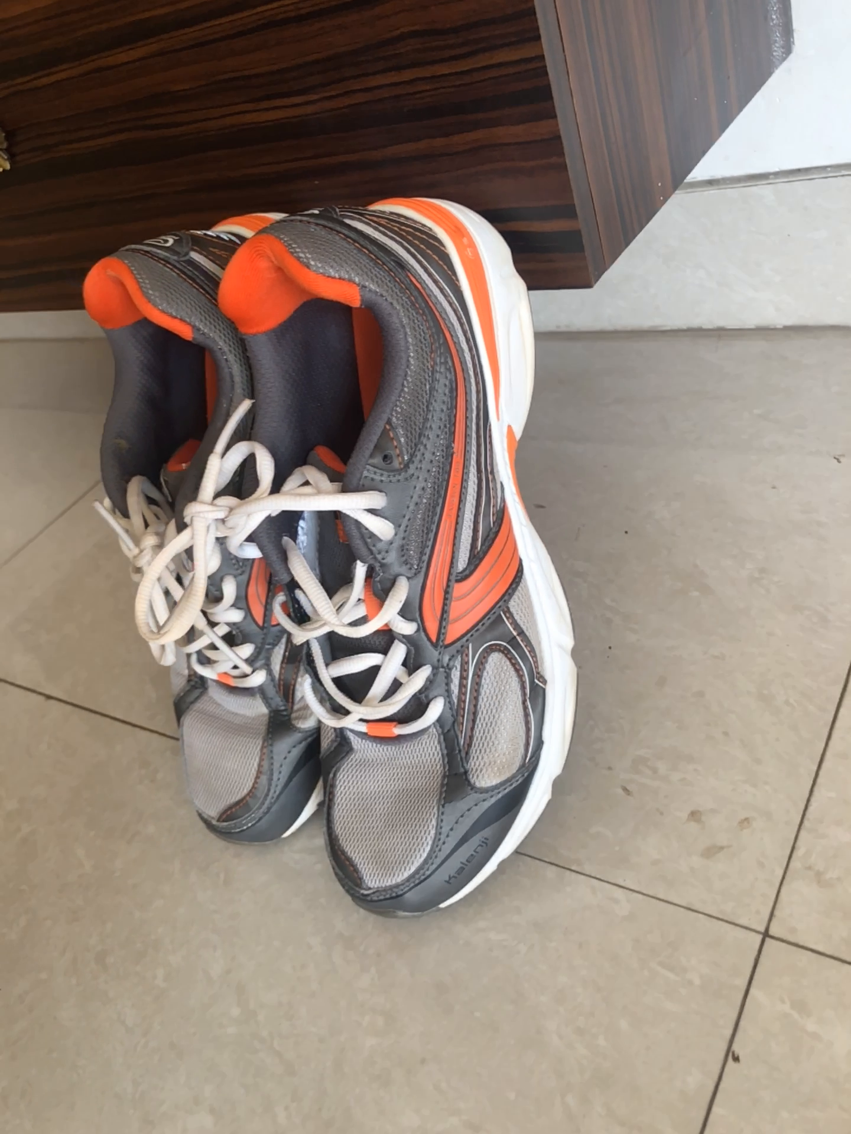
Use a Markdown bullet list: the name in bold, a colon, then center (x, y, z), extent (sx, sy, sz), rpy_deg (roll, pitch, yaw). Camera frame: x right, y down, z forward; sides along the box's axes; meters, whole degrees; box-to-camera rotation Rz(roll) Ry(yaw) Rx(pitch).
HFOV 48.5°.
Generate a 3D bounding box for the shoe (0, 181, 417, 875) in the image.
- **shoe**: center (-0.095, -0.019, 0.423), extent (0.120, 0.269, 0.100), rpy_deg (3, 19, 29)

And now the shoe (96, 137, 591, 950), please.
- **shoe**: center (-0.022, -0.013, 0.370), extent (0.120, 0.259, 0.110), rpy_deg (5, 17, 37)
